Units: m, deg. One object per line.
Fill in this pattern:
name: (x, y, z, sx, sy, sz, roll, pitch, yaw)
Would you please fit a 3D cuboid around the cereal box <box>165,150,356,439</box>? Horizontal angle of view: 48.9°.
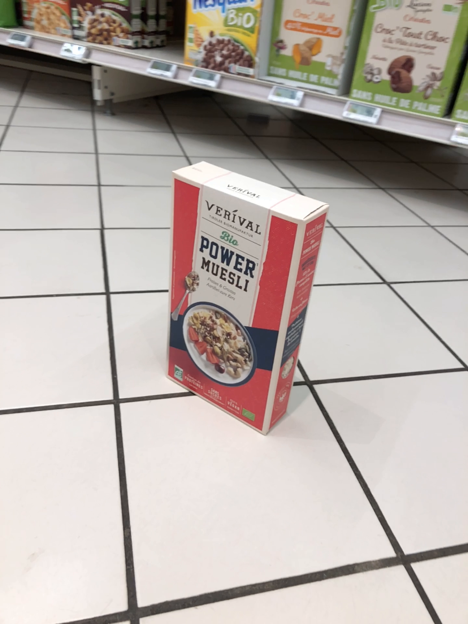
cereal box: (0.010, -0.014, 0.462, 0.140, 0.219, 0.050, 26, 36, 28)
